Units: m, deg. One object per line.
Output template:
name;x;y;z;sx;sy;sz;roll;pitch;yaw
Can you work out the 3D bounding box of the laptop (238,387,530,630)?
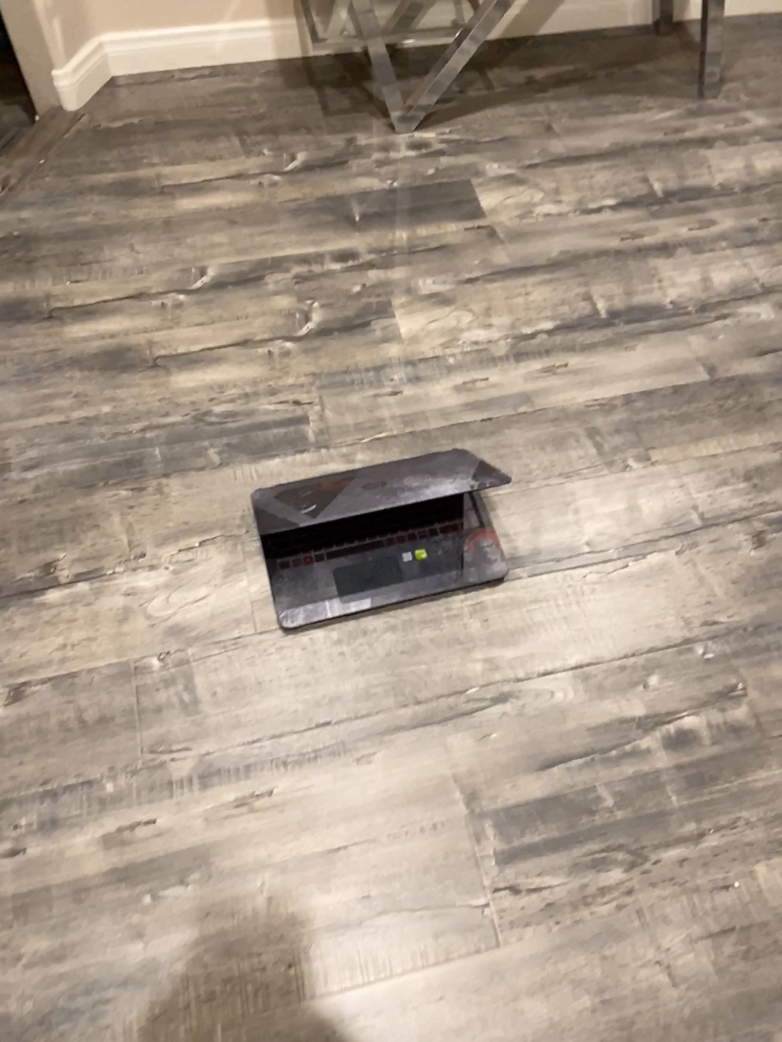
laptop;-0.018;-0.023;1.235;0.374;0.177;0.251;-12;61;-10
